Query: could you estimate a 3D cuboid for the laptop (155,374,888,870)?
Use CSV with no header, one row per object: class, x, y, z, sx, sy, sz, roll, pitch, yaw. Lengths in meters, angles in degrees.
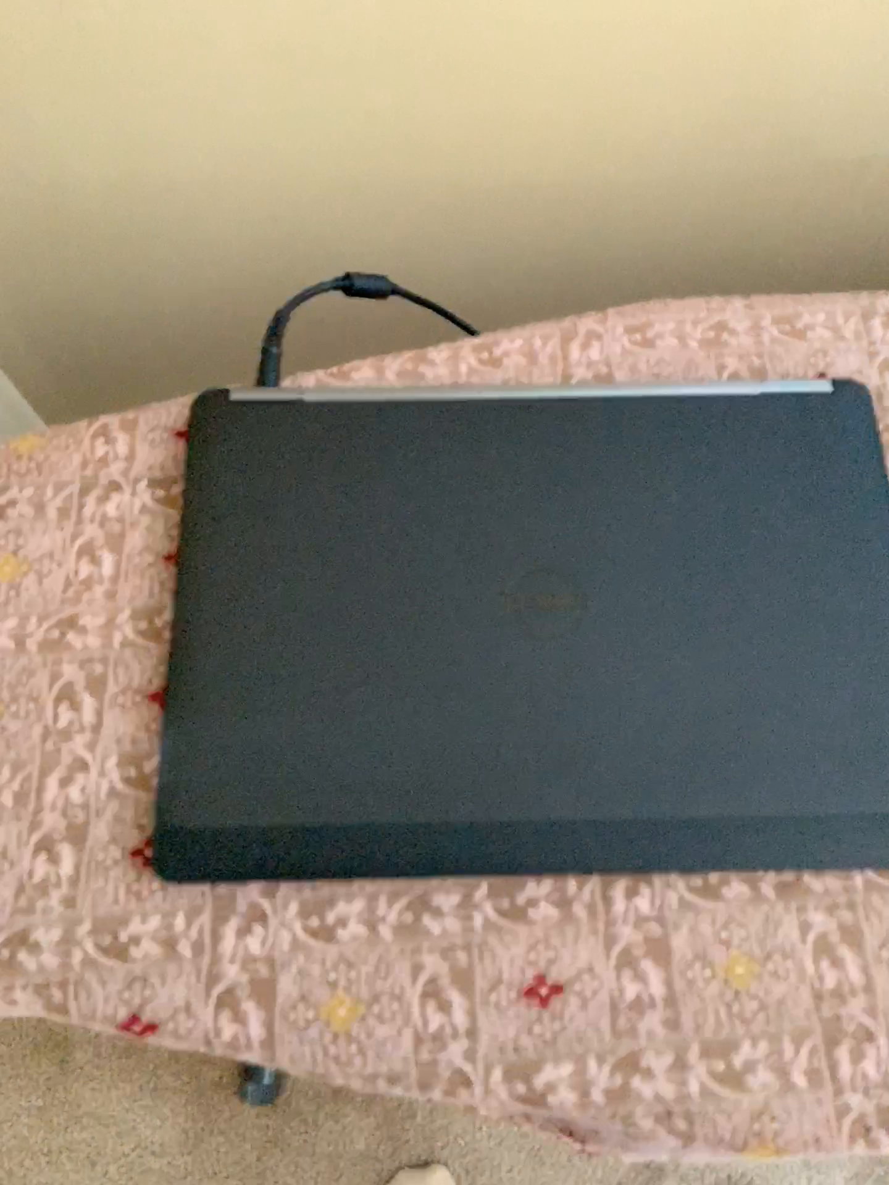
laptop,0.038,0.009,0.366,0.293,0.017,0.197,-1,72,3
